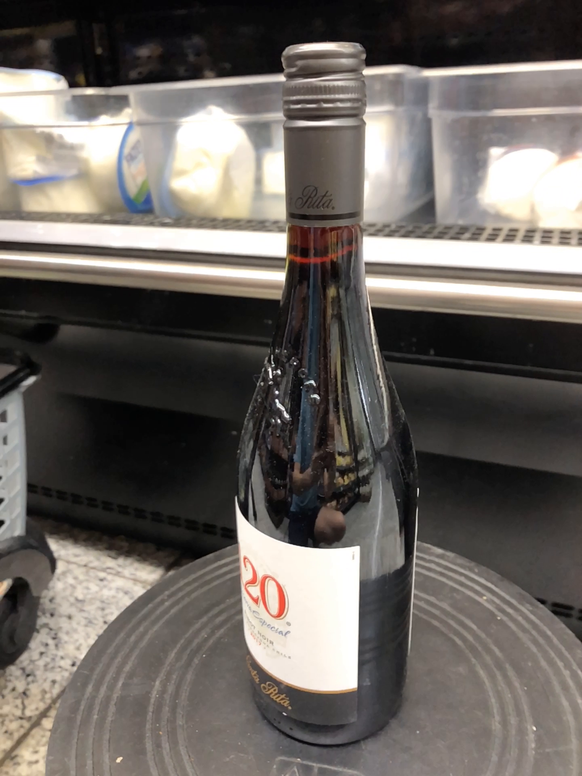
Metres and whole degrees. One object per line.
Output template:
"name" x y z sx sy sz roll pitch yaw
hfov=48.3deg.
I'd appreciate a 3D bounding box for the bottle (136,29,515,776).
"bottle" 0.013 0.018 0.272 0.090 0.288 0.090 -2 23 1
